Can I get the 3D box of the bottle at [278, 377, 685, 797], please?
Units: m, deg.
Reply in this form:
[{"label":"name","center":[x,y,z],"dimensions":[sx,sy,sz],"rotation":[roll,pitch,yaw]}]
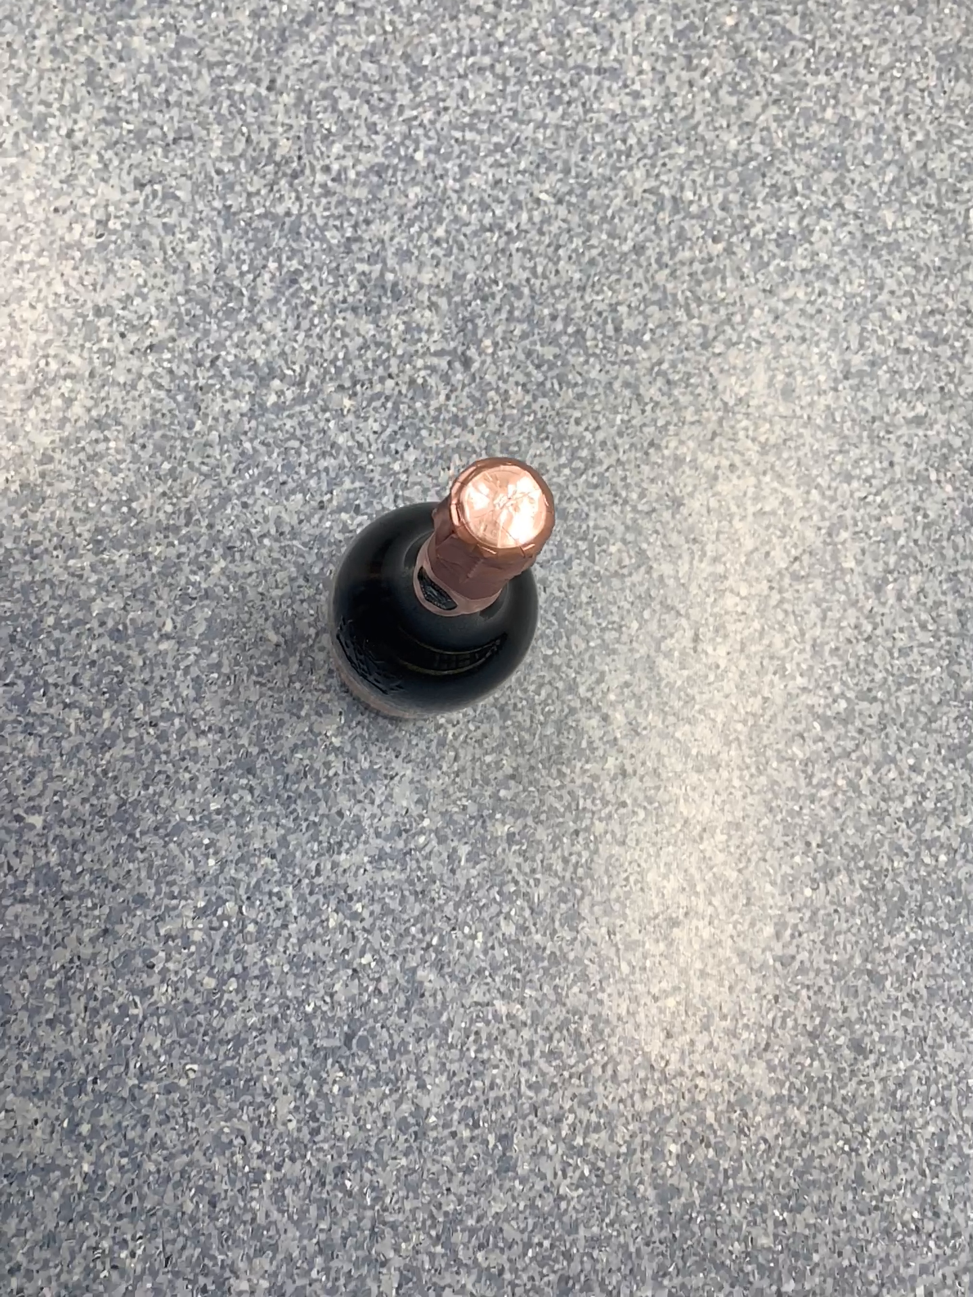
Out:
[{"label":"bottle","center":[-0.024,0.000,0.420],"dimensions":[0.079,0.270,0.094],"rotation":[-38,90,-14]}]
